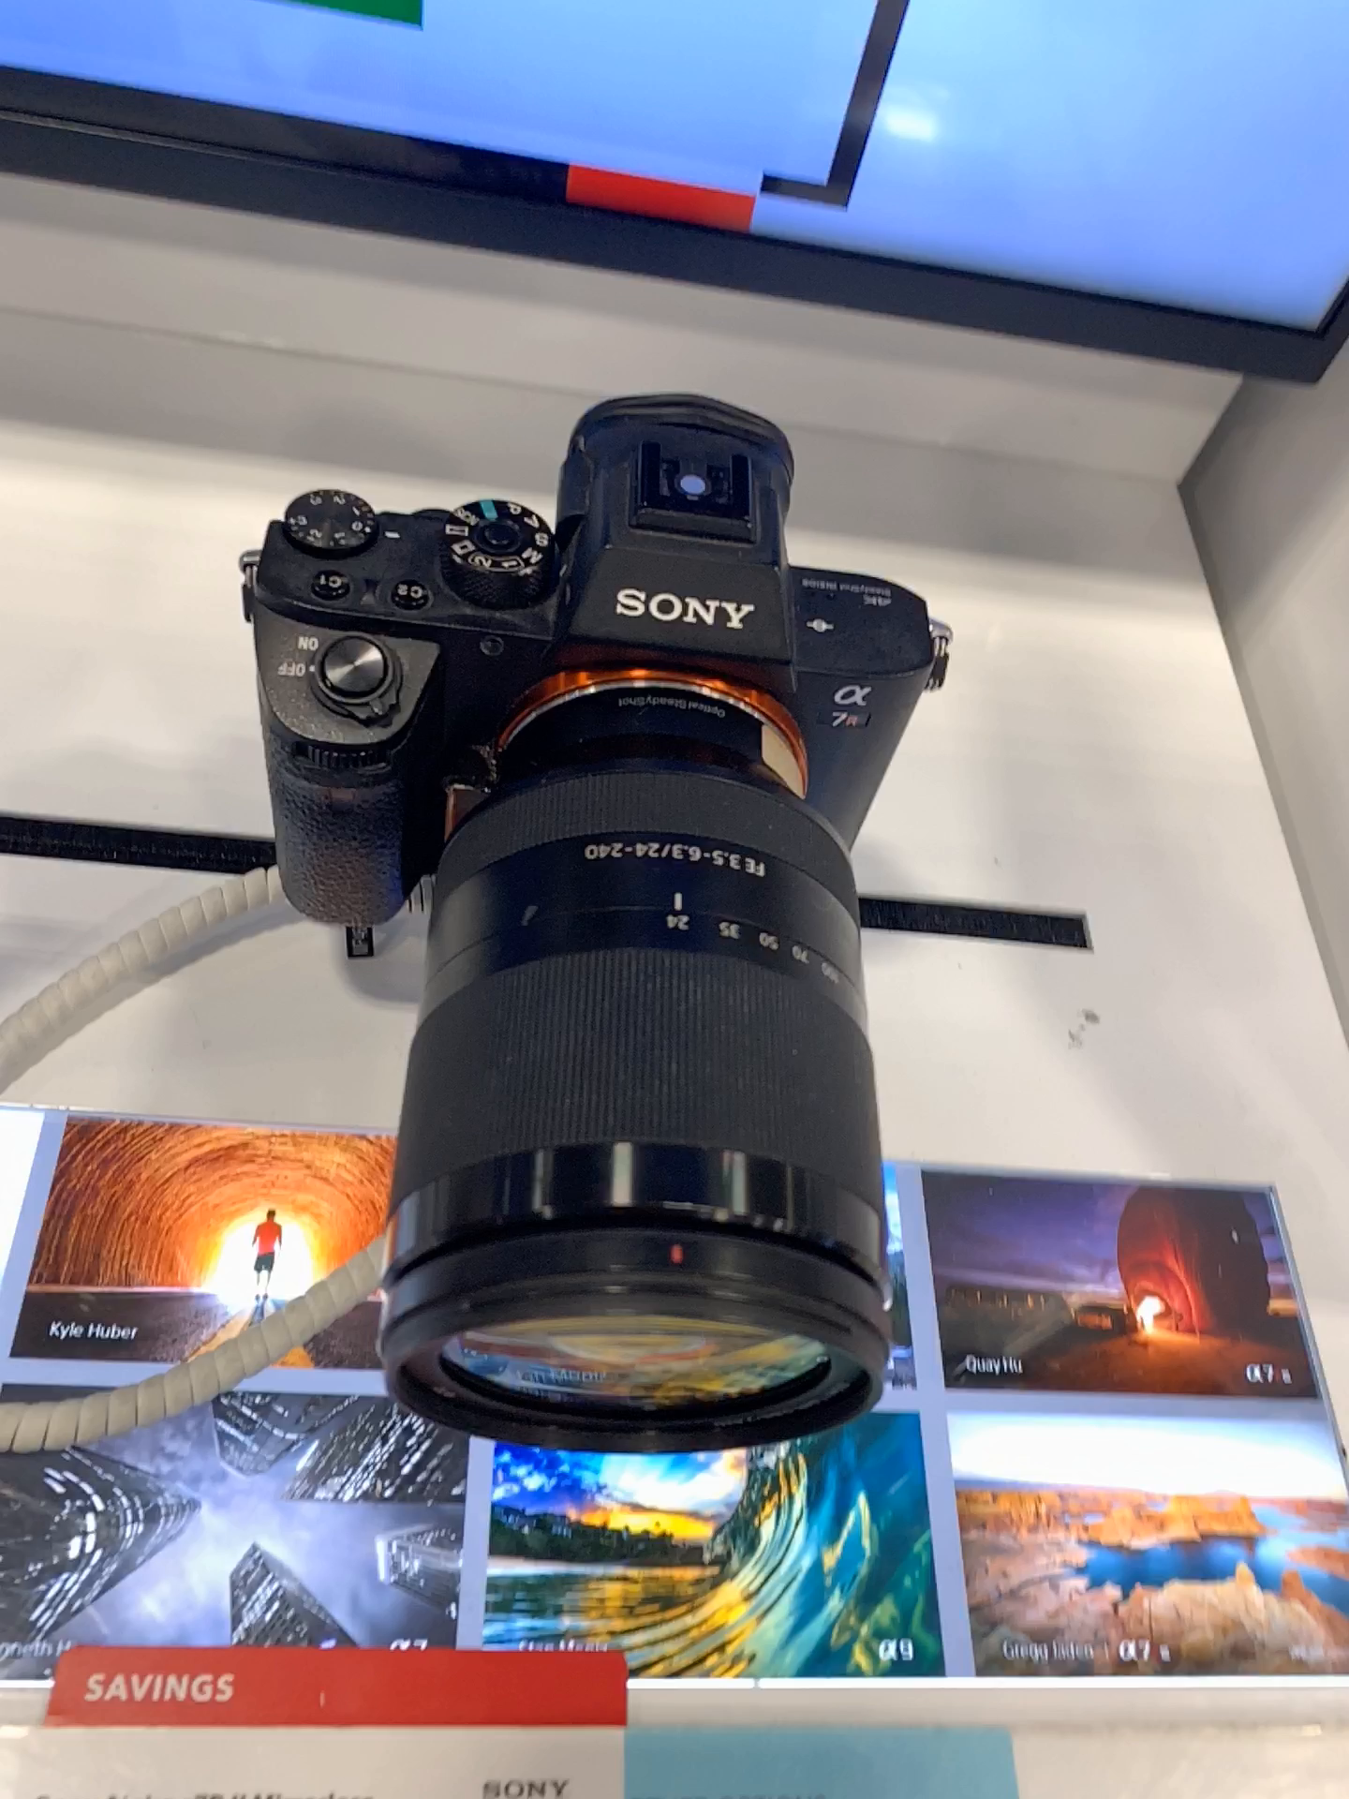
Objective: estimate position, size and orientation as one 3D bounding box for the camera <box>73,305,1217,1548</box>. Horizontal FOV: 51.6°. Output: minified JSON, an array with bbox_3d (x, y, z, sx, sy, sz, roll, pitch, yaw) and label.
[{"bbox_3d":[-0.013,0.001,0.241,0.128,0.091,0.184,2,57,-10],"label":"camera"}]
